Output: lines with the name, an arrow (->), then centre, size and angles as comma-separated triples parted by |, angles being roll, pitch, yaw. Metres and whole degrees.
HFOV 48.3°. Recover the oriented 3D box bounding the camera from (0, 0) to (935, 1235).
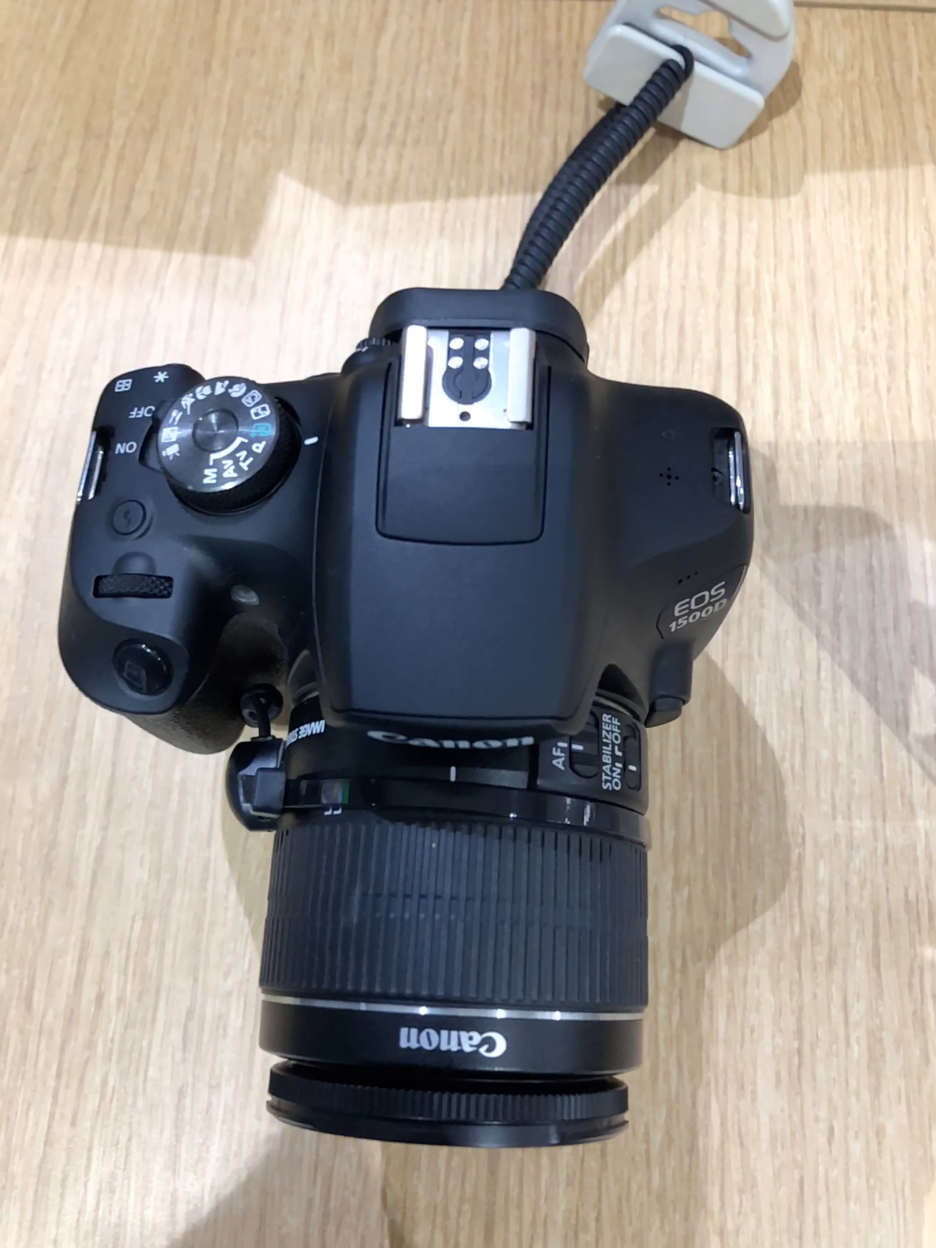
camera -> -0.007, -0.008, 0.192 | 0.140, 0.100, 0.191 | 0, 69, 2
